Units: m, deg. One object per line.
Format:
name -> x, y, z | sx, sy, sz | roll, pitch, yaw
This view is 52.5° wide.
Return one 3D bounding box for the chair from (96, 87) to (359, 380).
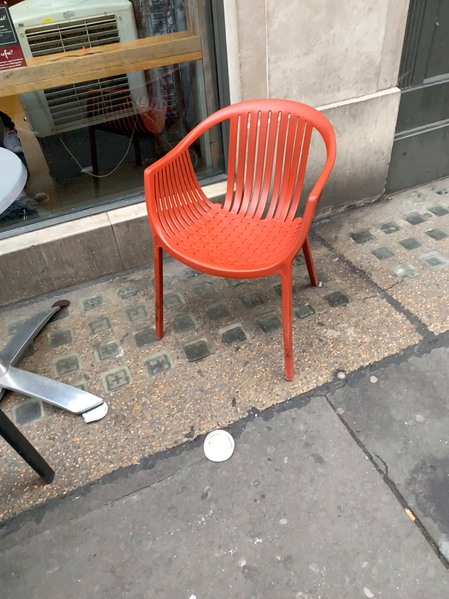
chair -> 0.066, -0.254, 1.563 | 0.581, 0.693, 0.615 | 13, 44, 21
